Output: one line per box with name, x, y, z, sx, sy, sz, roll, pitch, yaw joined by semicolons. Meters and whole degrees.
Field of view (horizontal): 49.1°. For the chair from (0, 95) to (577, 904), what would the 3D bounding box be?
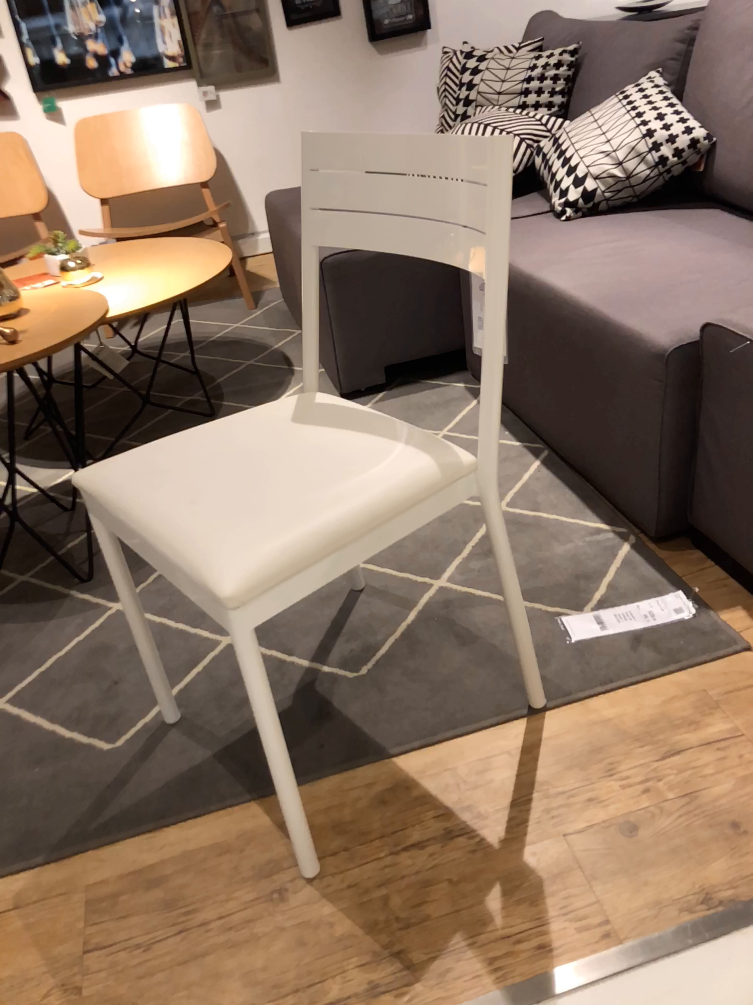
chair;-0.085;-0.039;1.035;0.472;0.774;0.452;-28;35;-30
